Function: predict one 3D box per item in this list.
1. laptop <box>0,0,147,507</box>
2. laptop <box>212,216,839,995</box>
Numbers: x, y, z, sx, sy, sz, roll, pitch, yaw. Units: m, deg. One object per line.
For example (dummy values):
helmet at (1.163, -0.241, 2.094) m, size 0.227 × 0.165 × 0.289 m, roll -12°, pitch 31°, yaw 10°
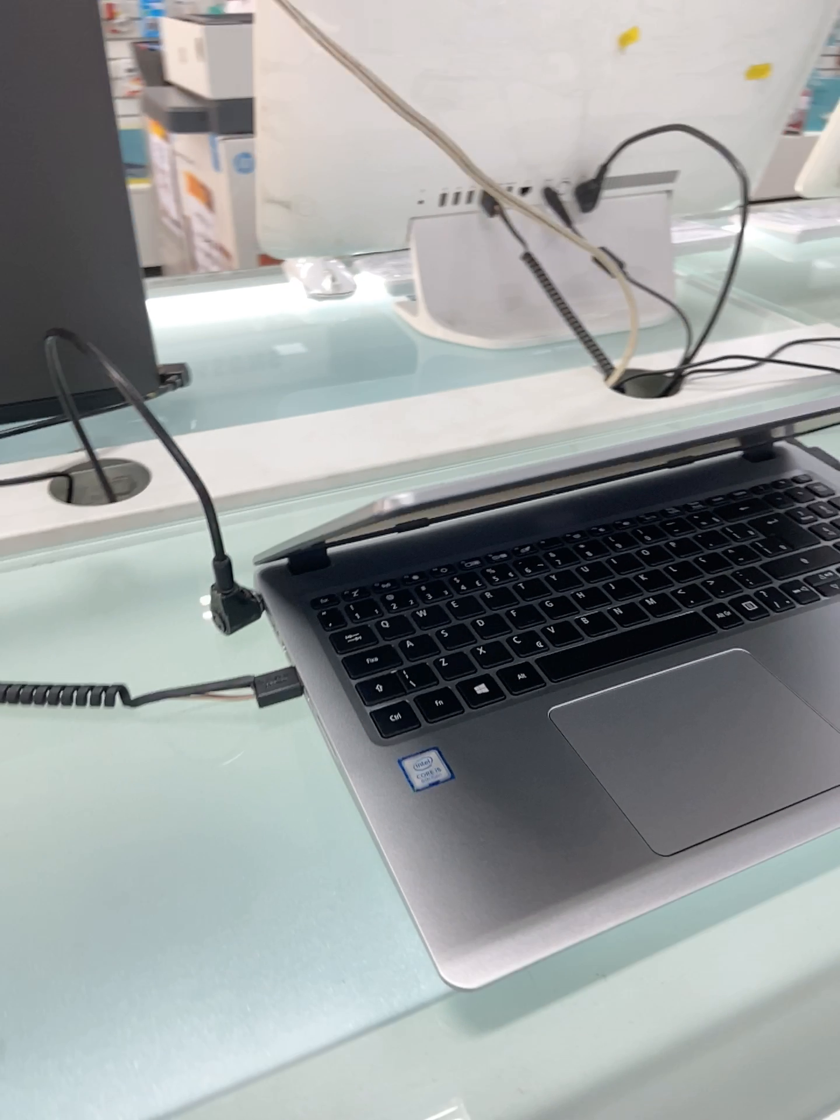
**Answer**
laptop at (-0.410, -0.246, 0.576) m, size 0.364 × 0.249 × 0.266 m, roll -13°, pitch 38°, yaw -21°
laptop at (0.125, -0.032, 0.371) m, size 0.361 × 0.138 × 0.237 m, roll -14°, pitch 37°, yaw -21°
